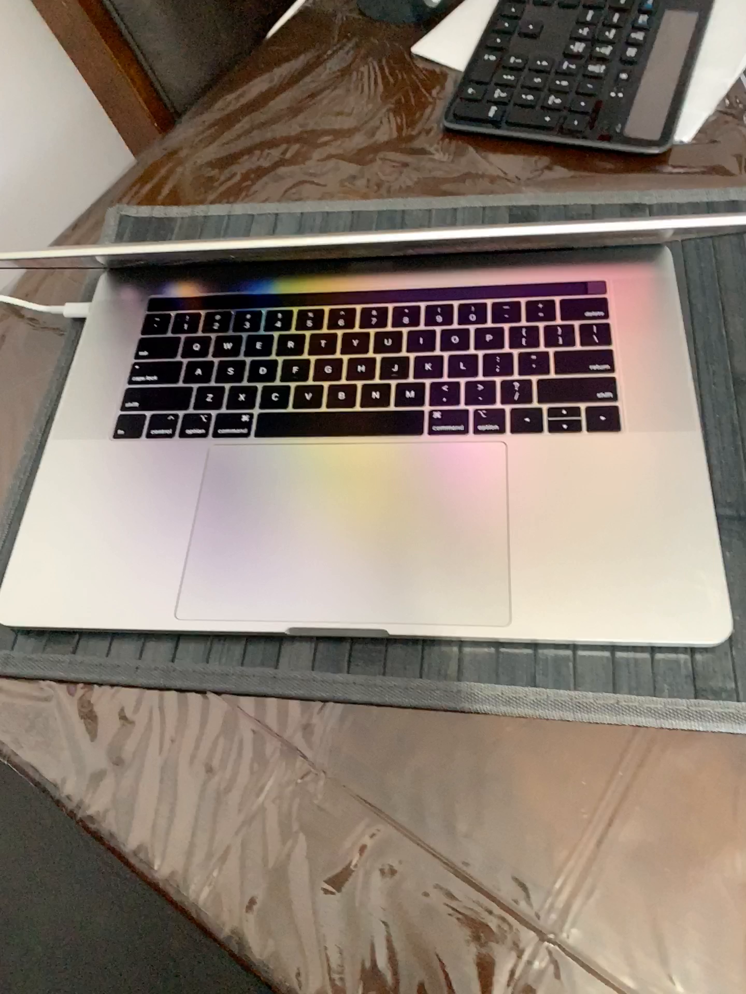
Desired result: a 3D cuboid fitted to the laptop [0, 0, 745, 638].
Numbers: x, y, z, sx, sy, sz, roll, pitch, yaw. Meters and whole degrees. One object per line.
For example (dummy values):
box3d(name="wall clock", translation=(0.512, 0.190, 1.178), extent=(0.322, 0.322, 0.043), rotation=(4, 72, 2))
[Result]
box3d(name="laptop", translation=(-0.018, -0.081, 0.336), extent=(0.339, 0.164, 0.234), rotation=(0, 61, 8))
